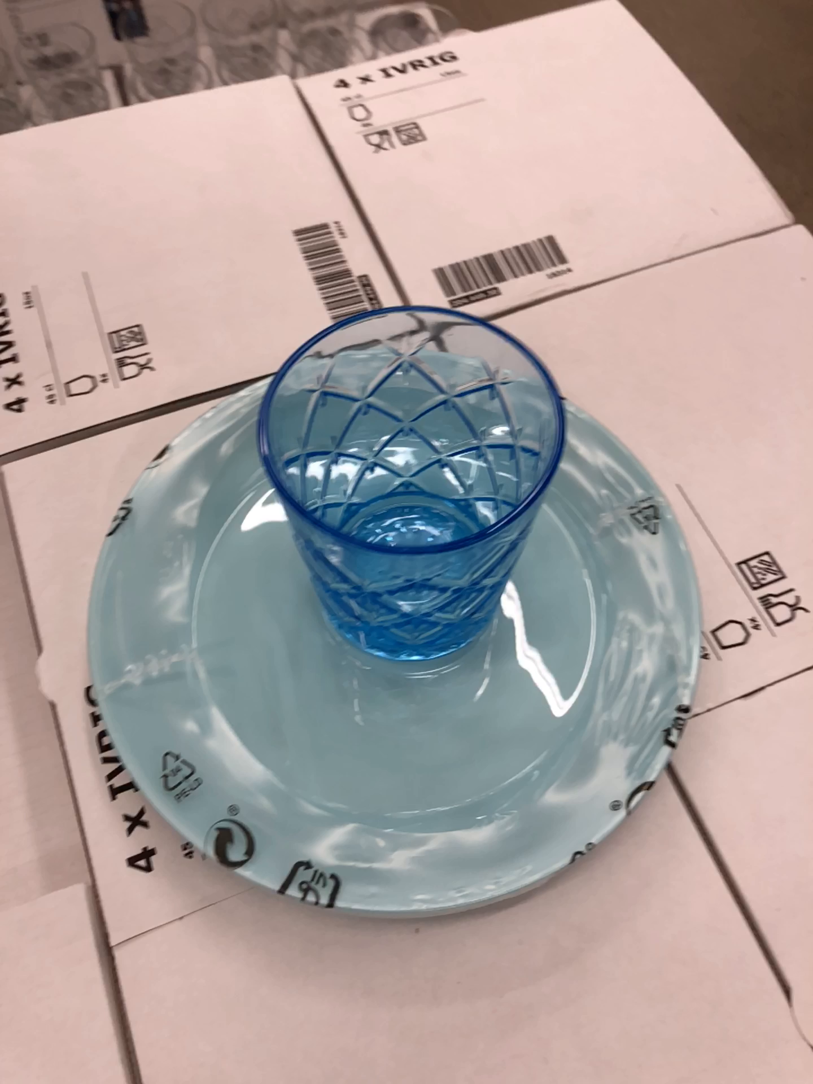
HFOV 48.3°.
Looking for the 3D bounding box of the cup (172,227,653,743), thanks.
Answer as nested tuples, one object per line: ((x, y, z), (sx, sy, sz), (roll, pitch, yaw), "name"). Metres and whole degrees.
((0.002, -0.014, 0.284), (0.090, 0.100, 0.090), (0, 62, 1), "cup")
